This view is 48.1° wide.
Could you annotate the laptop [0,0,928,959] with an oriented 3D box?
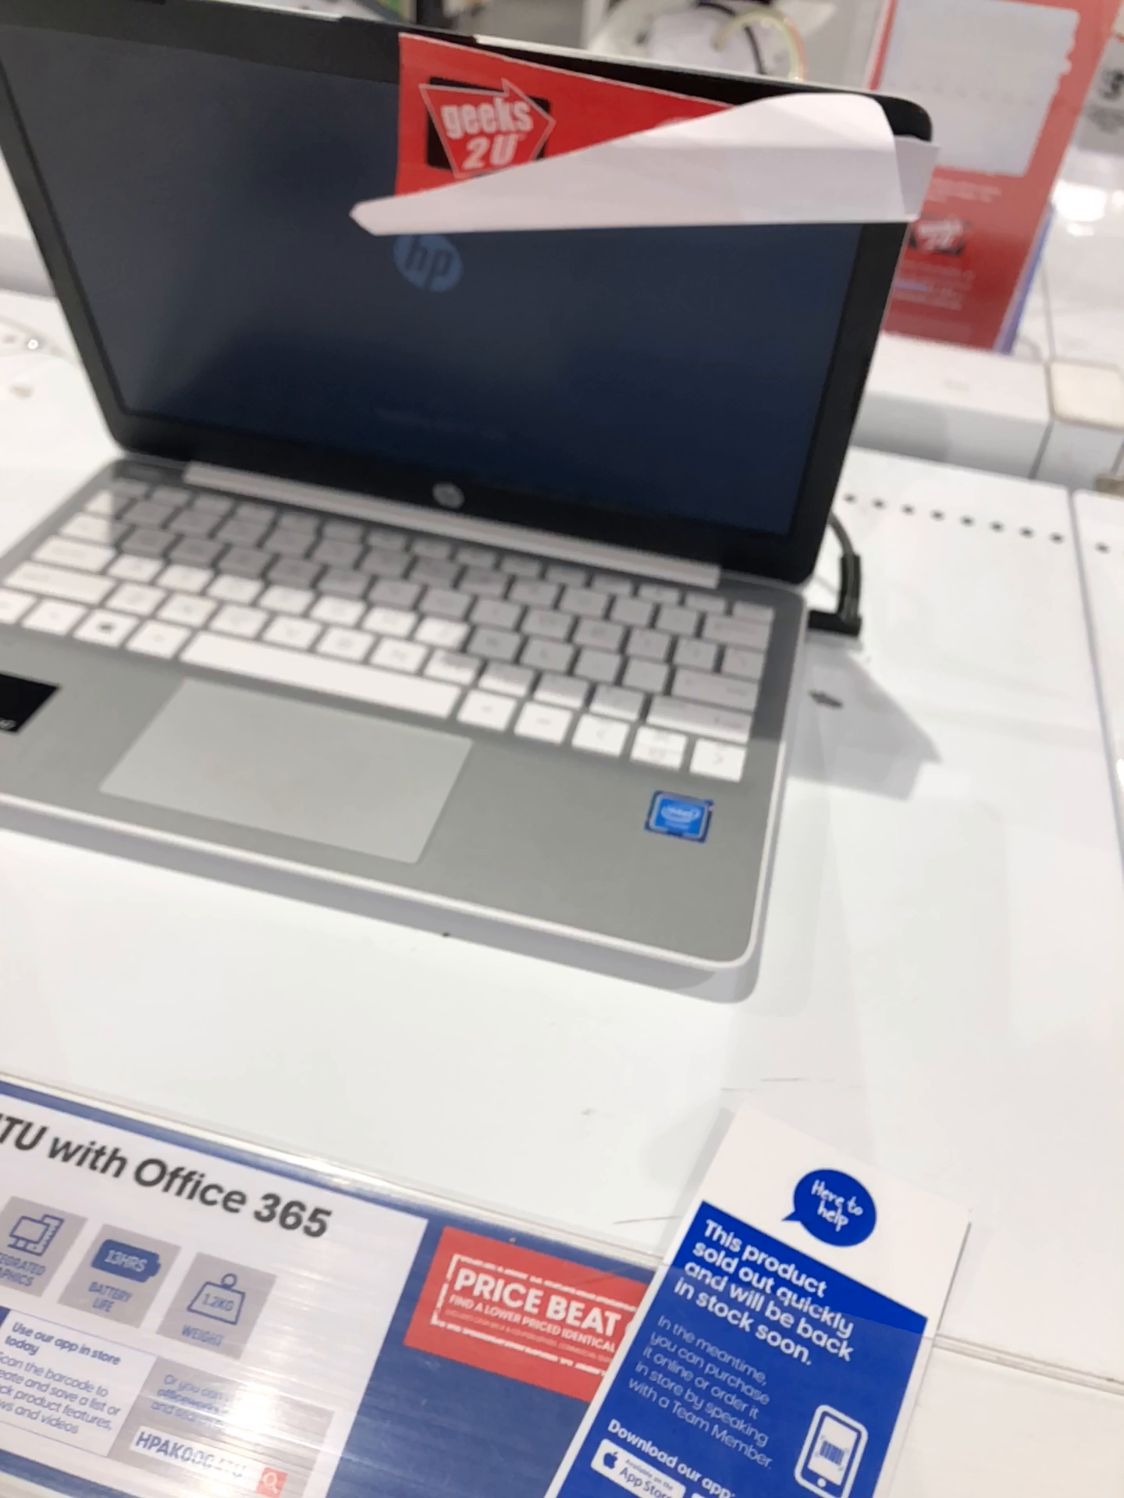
[{"bbox_3d":[-0.058,-0.096,0.355,0.273,0.173,0.184,12,40,7],"label":"laptop"}]
